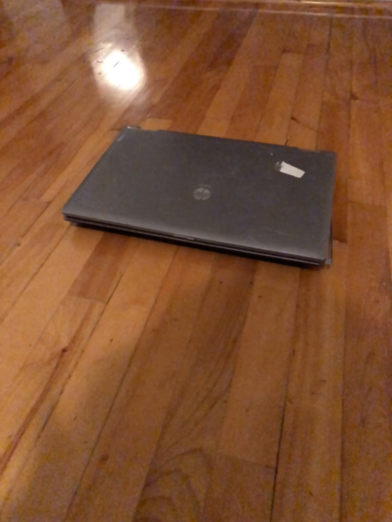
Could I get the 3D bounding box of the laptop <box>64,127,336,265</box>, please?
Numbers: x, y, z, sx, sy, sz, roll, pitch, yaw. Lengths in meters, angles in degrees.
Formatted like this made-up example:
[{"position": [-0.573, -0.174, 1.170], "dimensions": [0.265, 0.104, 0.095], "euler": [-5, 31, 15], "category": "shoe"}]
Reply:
[{"position": [0.019, -0.117, 0.660], "dimensions": [0.363, 0.010, 0.242], "euler": [11, 49, 12], "category": "laptop"}]
